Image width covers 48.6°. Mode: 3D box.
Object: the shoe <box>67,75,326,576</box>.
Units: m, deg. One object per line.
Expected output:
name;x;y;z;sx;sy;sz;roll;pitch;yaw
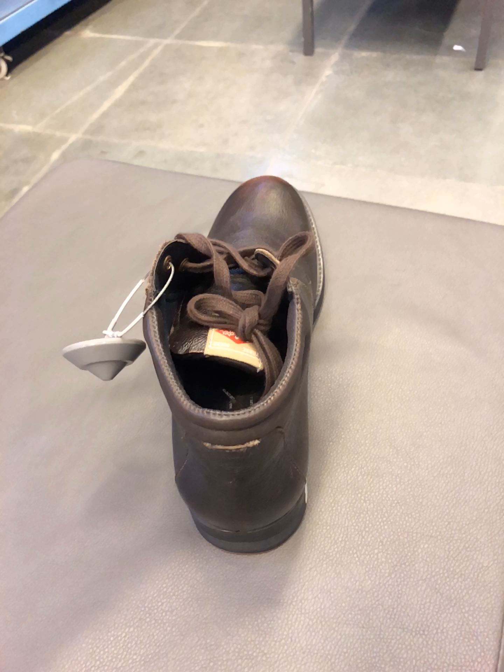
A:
shoe;-0.005;-0.017;0.390;0.108;0.177;0.300;-1;52;7
